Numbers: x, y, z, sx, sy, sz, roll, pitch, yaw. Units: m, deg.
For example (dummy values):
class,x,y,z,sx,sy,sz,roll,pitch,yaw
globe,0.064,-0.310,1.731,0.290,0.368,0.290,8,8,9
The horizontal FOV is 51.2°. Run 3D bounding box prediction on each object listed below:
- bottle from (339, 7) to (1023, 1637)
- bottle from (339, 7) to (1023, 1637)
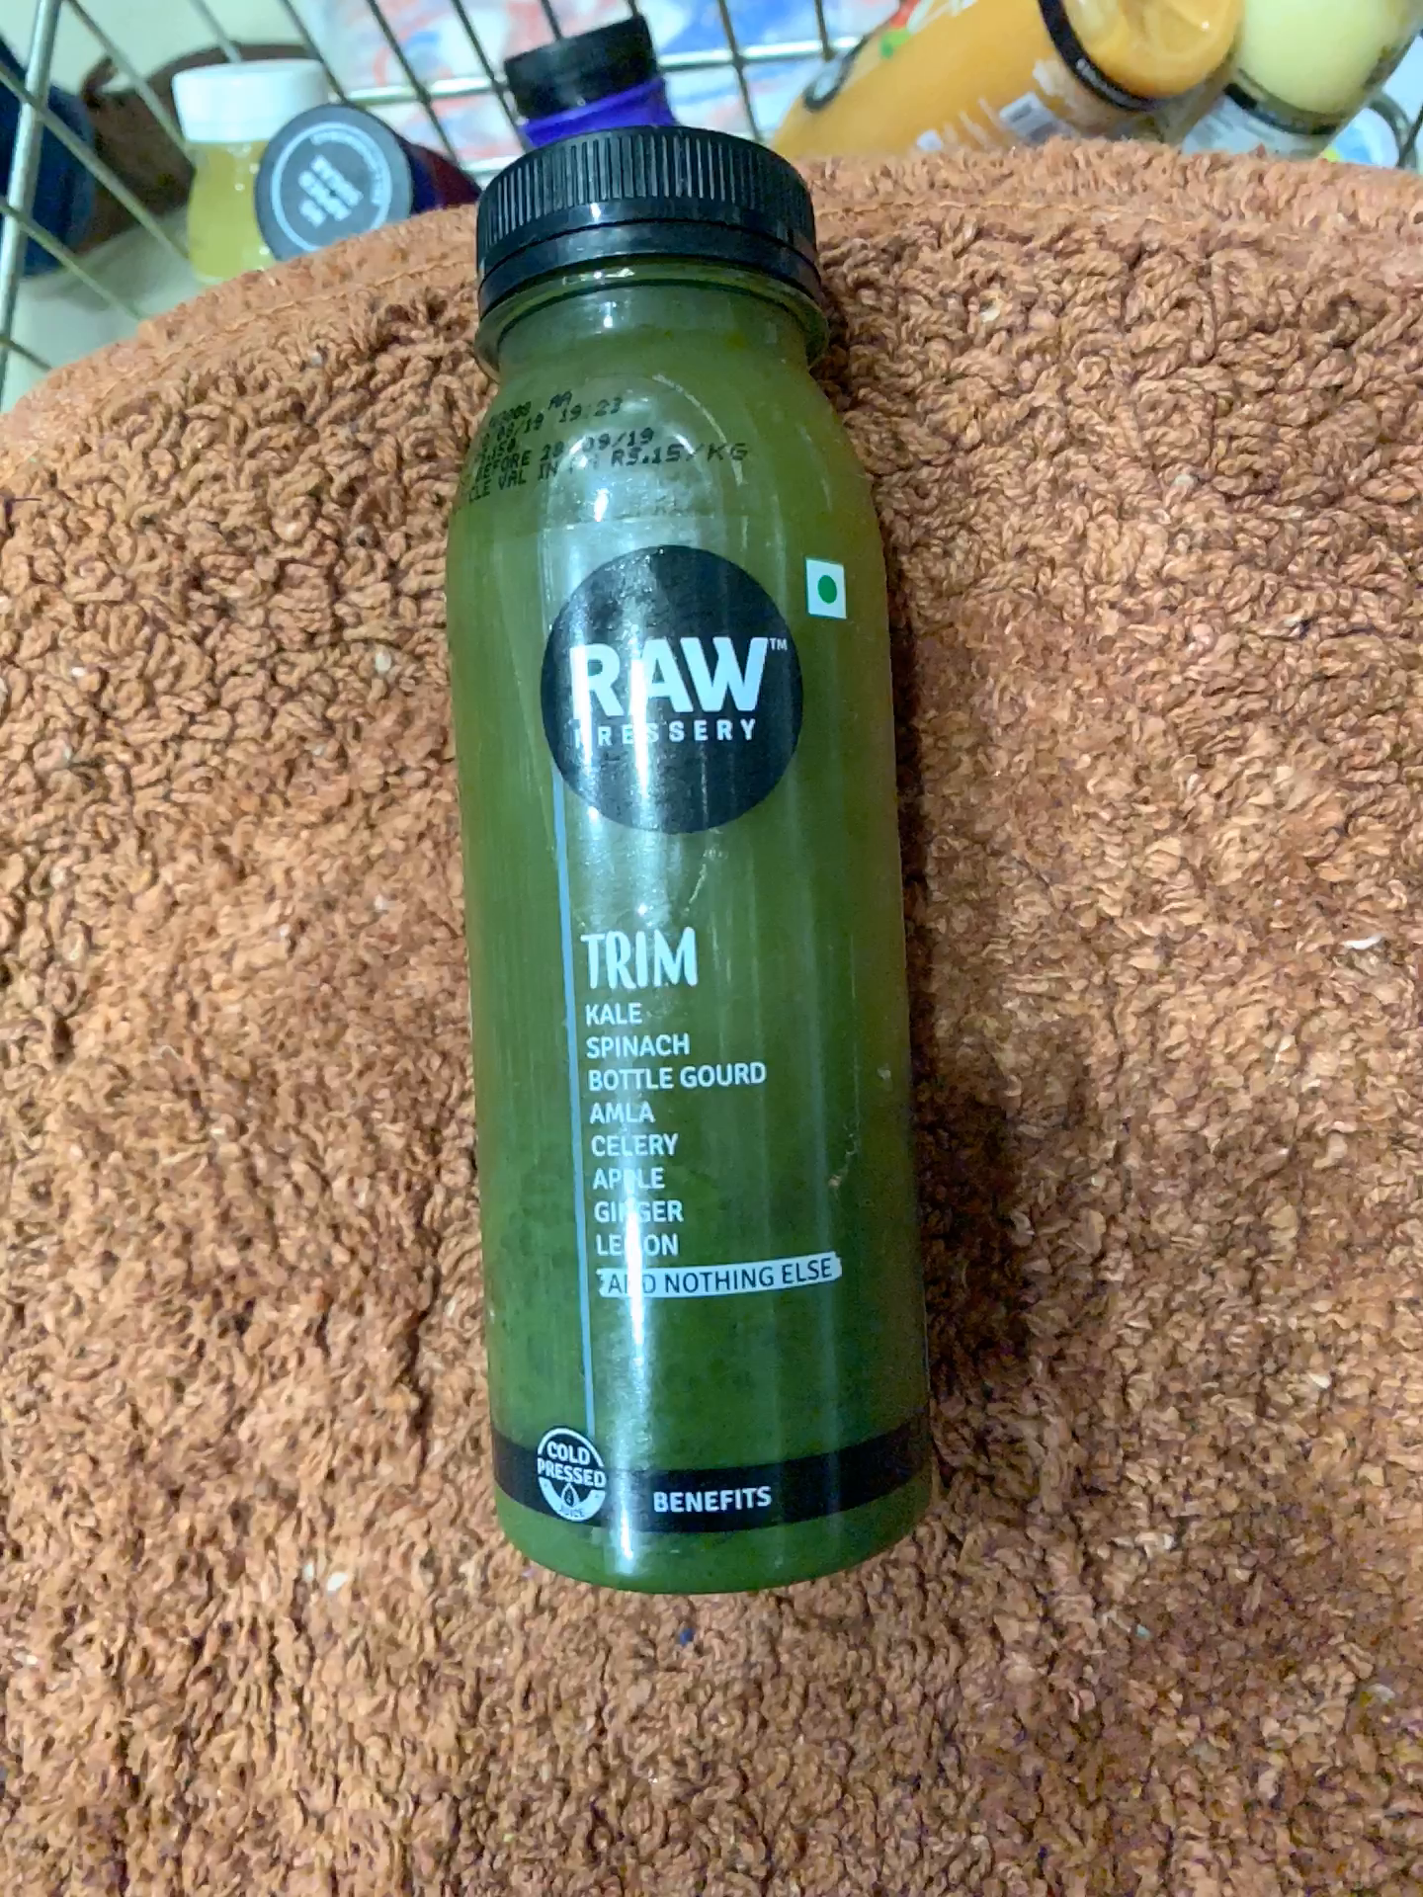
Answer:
class,x,y,z,sx,sy,sz,roll,pitch,yaw
bottle,-0.003,-0.012,0.163,0.060,0.050,0.150,-1,88,2
bottle,-0.003,-0.012,0.163,0.060,0.050,0.150,-1,88,2
